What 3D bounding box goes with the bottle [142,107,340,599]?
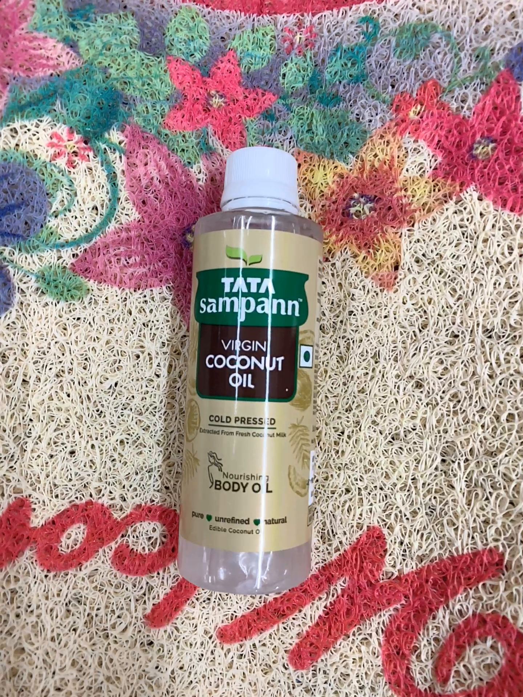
[{"bbox_3d":[-0.006,0.001,0.172,0.050,0.030,0.140,3,88,-1],"label":"bottle"}]
